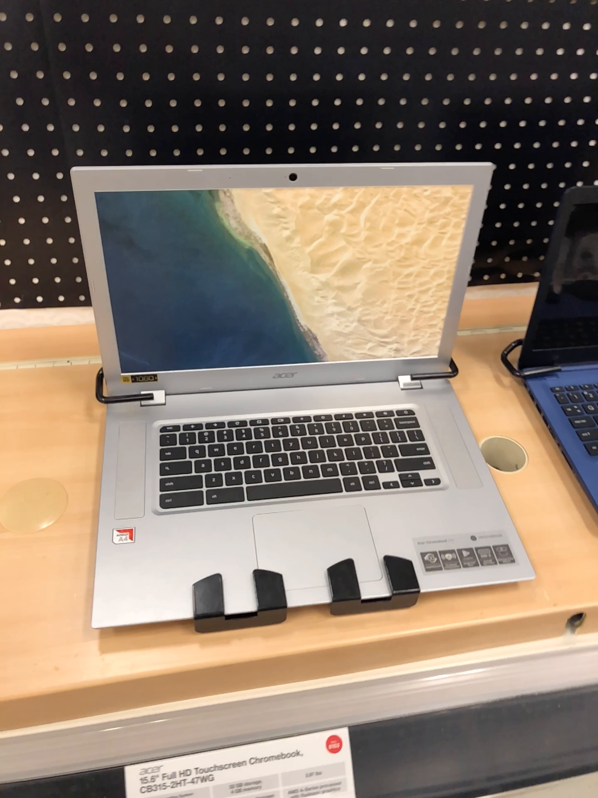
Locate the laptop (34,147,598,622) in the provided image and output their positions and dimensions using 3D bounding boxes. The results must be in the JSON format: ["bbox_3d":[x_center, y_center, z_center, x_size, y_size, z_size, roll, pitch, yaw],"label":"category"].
[{"bbox_3d":[0.004,-0.033,0.580,0.371,0.246,0.287,-4,41,-9],"label":"laptop"}]
